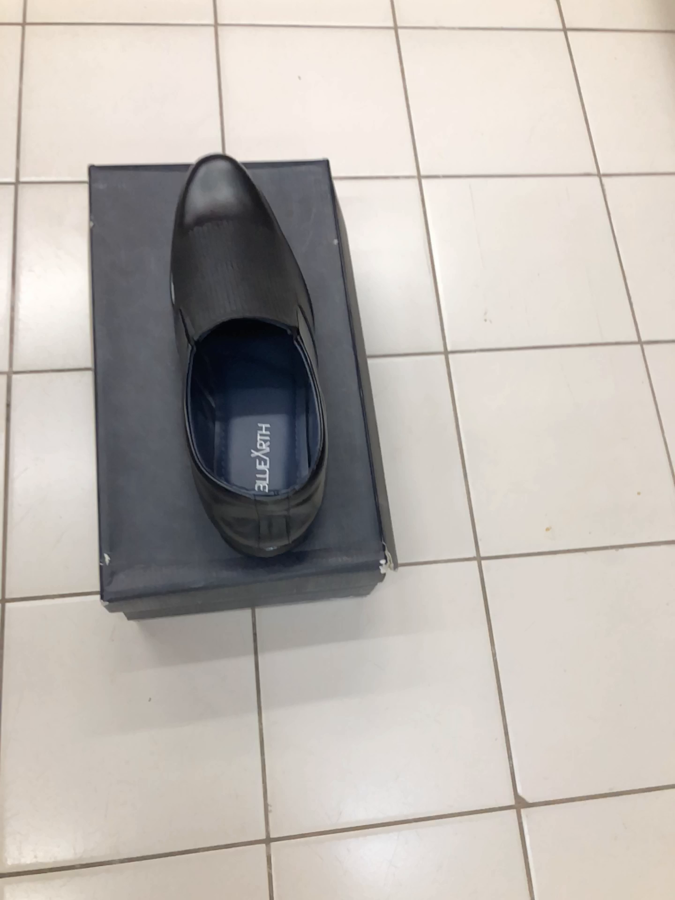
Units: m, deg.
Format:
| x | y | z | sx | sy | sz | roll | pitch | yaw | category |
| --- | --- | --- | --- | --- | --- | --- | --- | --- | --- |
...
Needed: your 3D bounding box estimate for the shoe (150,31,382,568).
| x | y | z | sx | sy | sz | roll | pitch | yaw | category |
| --- | --- | --- | --- | --- | --- | --- | --- | --- | --- |
| -0.058 | -0.103 | 0.520 | 0.100 | 0.130 | 0.341 | -7 | 73 | -9 | shoe |
